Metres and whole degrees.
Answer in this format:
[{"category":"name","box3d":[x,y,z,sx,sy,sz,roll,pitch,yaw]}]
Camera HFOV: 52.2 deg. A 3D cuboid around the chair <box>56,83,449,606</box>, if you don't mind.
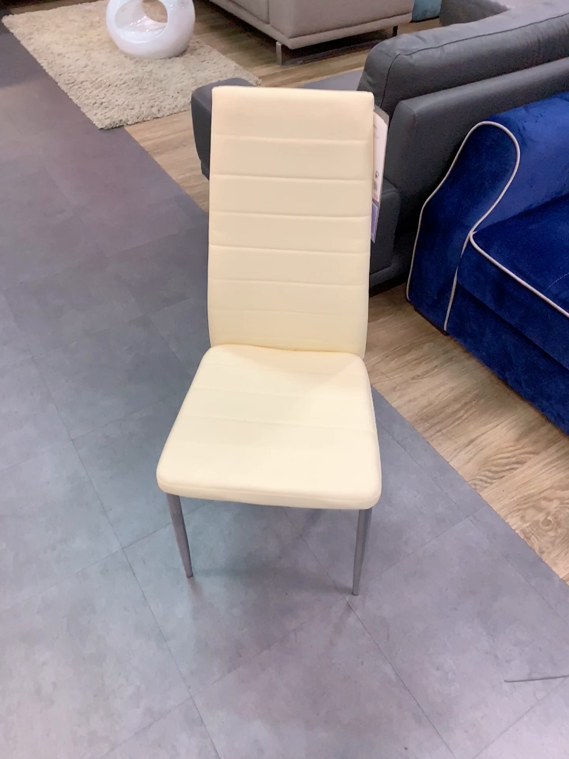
[{"category":"chair","box3d":[-0.010,0.005,1.158,0.445,0.940,0.480,5,48,5]}]
